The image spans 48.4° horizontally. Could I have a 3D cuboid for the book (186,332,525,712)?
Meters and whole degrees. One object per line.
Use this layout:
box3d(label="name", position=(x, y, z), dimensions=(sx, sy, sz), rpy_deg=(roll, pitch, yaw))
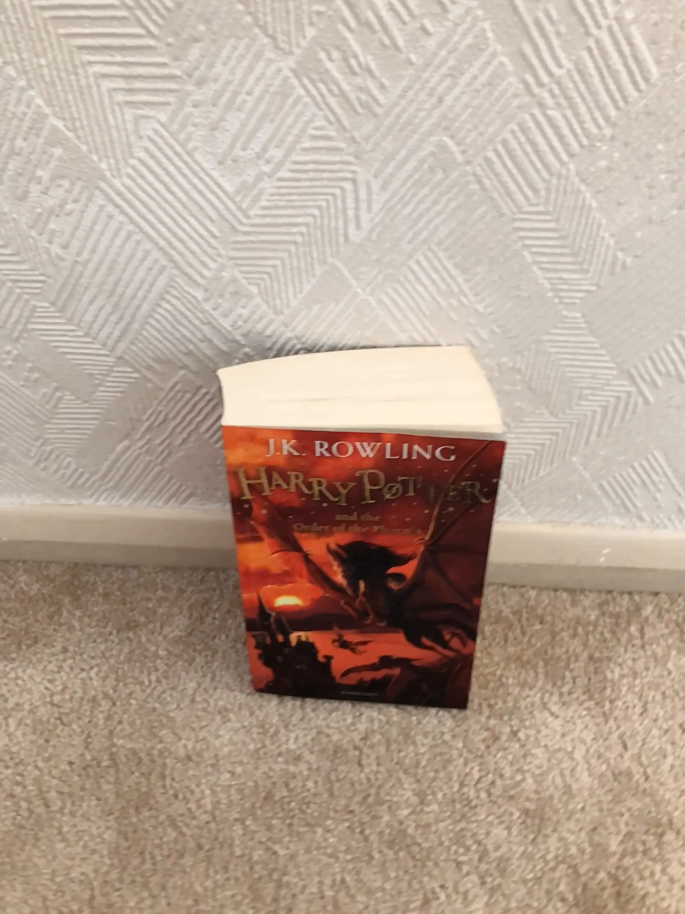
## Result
box3d(label="book", position=(0.010, 0.040, 0.424), dimensions=(0.147, 0.189, 0.092), rpy_deg=(3, 39, 5))
